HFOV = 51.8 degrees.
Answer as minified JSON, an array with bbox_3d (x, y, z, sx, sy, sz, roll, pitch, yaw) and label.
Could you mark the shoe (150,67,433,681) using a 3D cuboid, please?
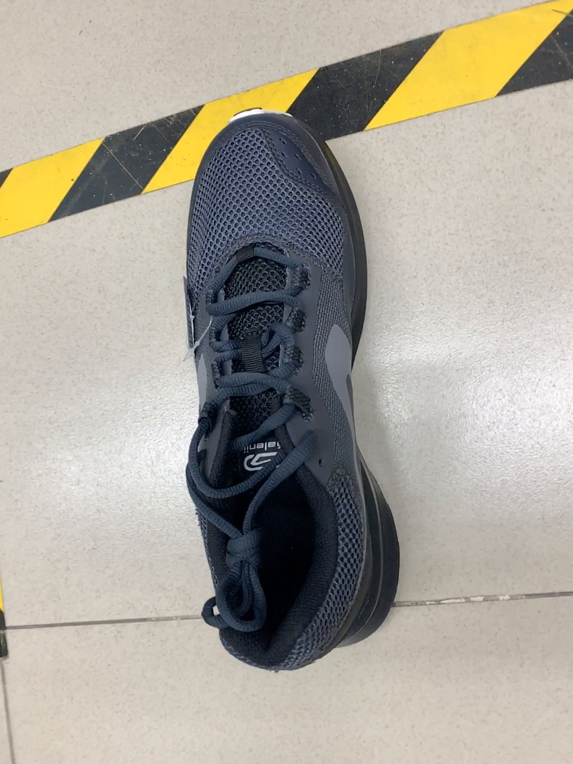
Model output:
[{"bbox_3d":[0.005,-0.001,0.315,0.110,0.070,0.280,-7,86,16],"label":"shoe"}]
